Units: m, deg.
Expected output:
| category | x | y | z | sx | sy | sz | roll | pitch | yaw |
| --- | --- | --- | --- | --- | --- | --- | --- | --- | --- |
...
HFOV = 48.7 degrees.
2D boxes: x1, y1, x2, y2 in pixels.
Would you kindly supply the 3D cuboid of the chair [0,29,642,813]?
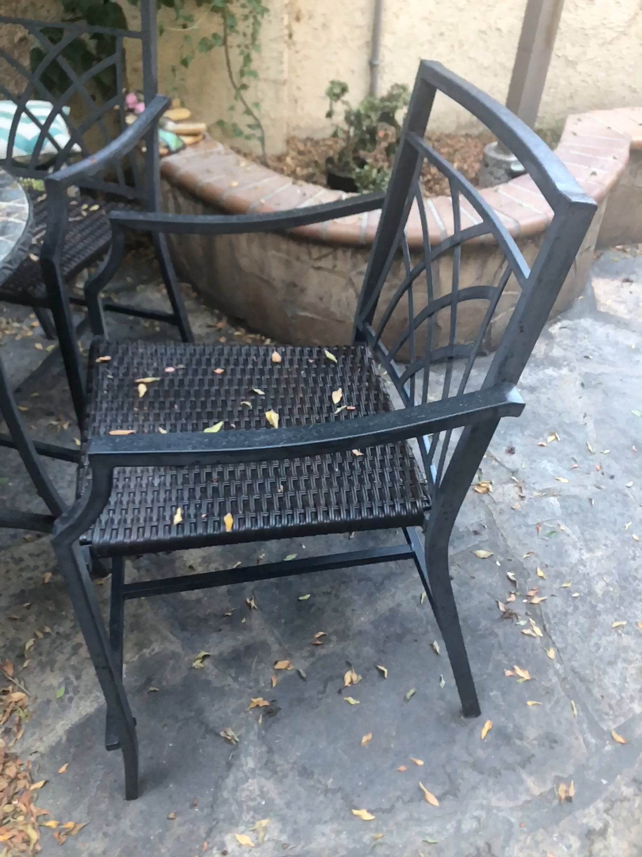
| category | x | y | z | sx | sy | sz | roll | pitch | yaw |
| --- | --- | --- | --- | --- | --- | --- | --- | --- | --- |
| chair | -0.062 | -0.016 | 1.087 | 0.691 | 0.912 | 0.685 | -6 | 42 | -10 |
